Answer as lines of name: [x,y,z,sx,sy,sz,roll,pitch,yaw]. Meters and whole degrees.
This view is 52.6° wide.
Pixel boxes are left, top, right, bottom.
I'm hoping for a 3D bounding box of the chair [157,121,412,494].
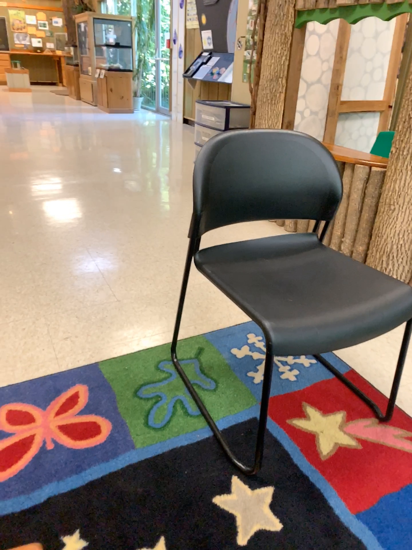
chair: [0.228,0.017,1.172,0.571,0.785,0.532,-11,29,-26]
